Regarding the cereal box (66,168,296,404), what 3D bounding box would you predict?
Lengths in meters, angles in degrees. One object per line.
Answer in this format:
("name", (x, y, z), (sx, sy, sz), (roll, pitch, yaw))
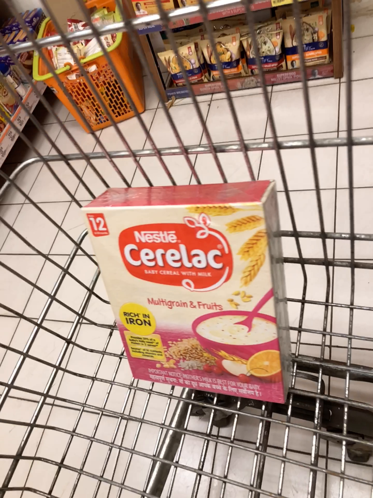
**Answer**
("cereal box", (0.003, 0.034, 0.358), (0.160, 0.189, 0.050), (1, 29, 24))
